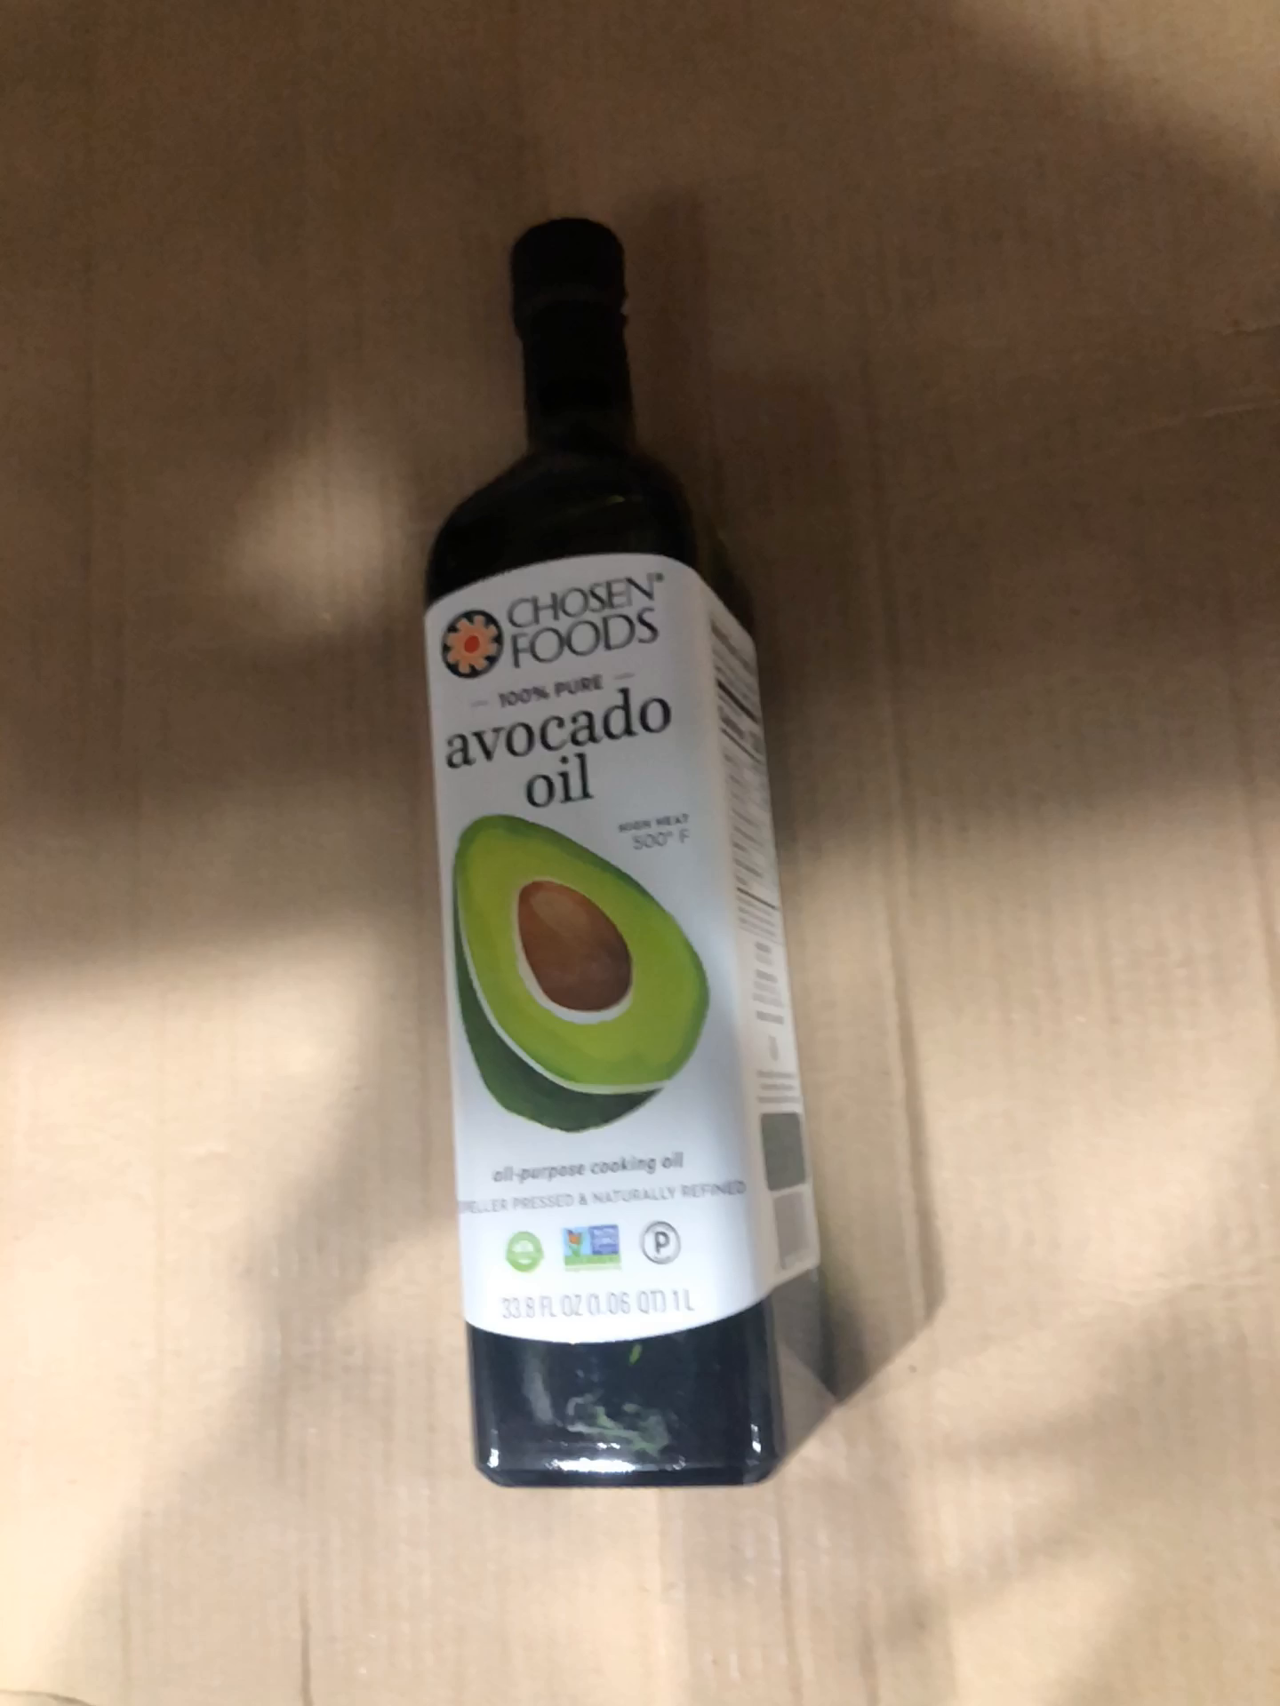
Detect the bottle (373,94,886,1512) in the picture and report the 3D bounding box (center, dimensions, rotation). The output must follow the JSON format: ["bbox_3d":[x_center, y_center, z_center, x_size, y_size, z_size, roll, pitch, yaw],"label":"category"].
[{"bbox_3d":[-0.005,-0.015,0.359,0.086,0.074,0.320,-8,77,17],"label":"bottle"}]
